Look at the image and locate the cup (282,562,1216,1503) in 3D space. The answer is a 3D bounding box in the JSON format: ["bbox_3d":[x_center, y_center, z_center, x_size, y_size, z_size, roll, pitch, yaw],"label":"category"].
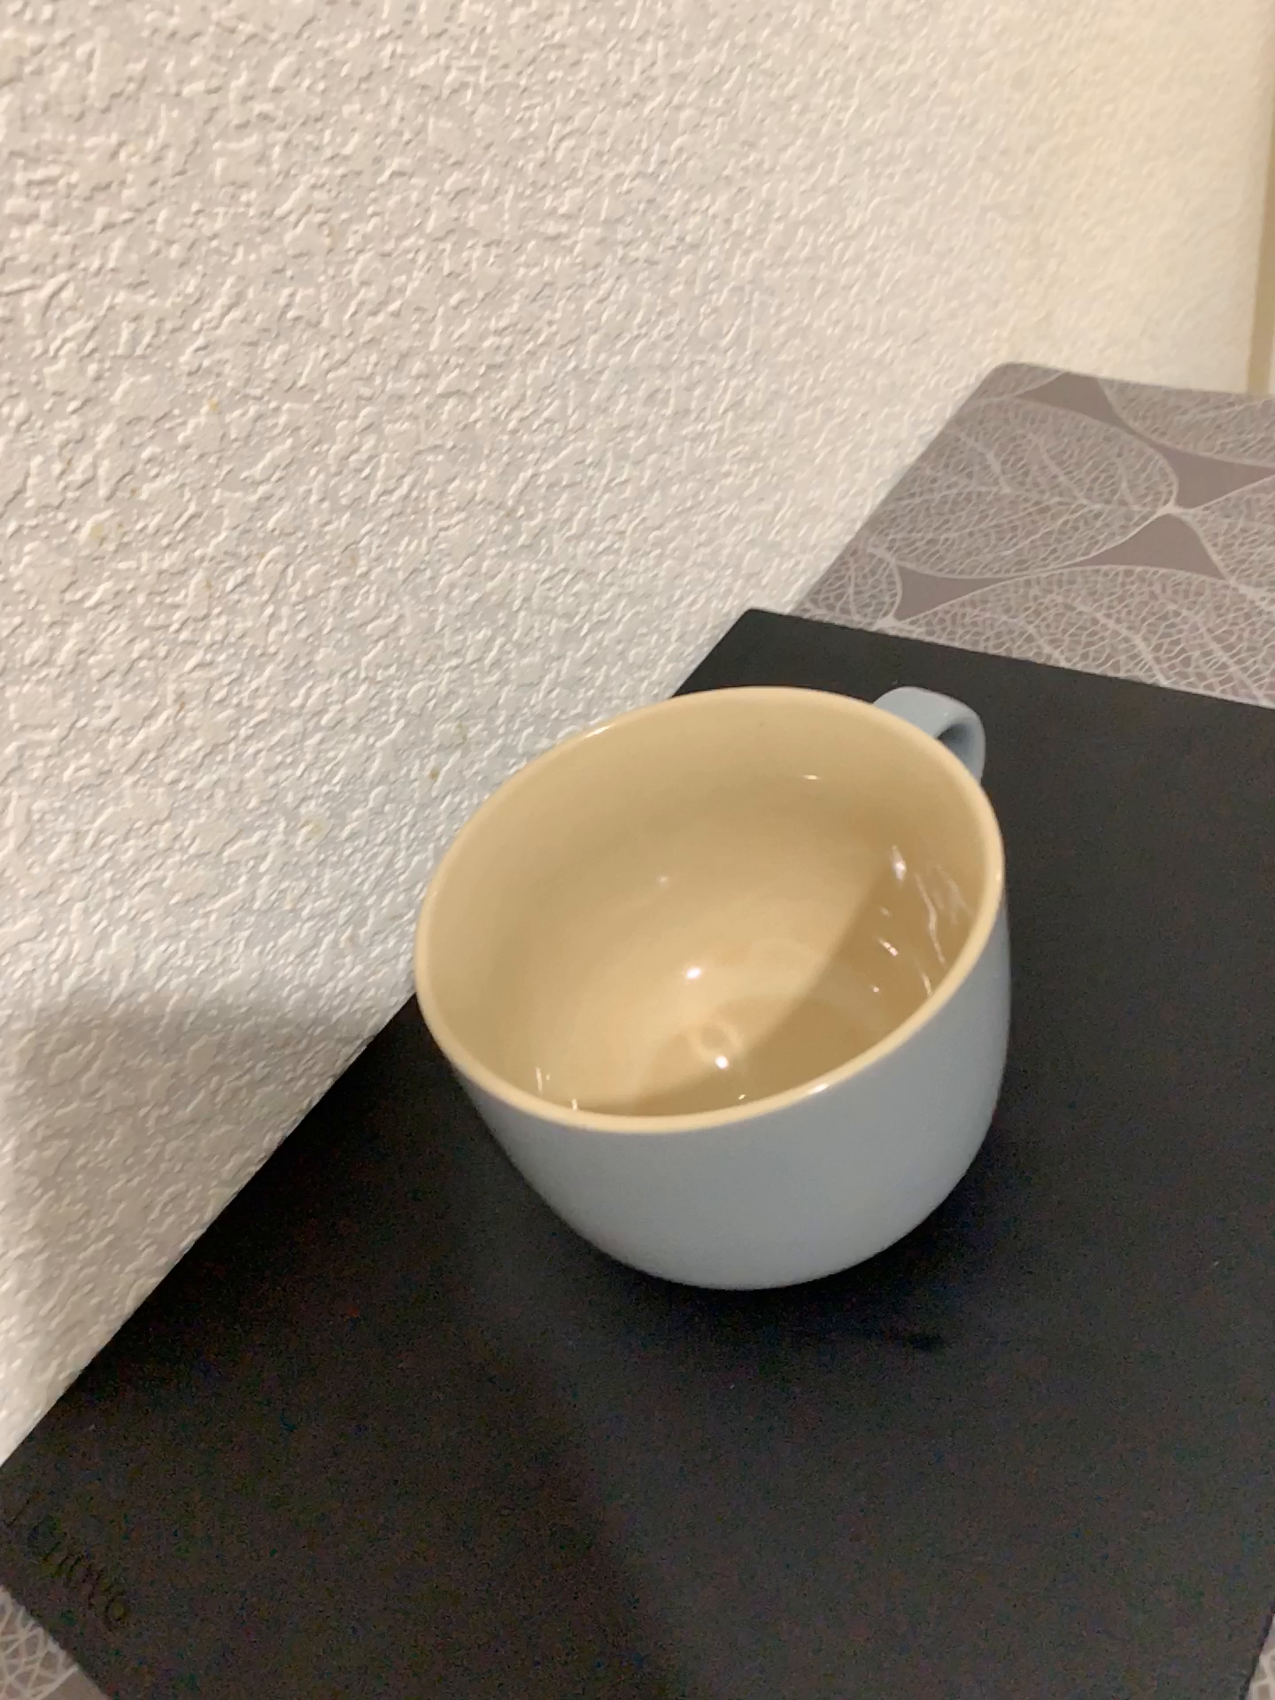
[{"bbox_3d":[0.028,0.024,0.261,0.111,0.079,0.133,24,58,37],"label":"cup"}]
